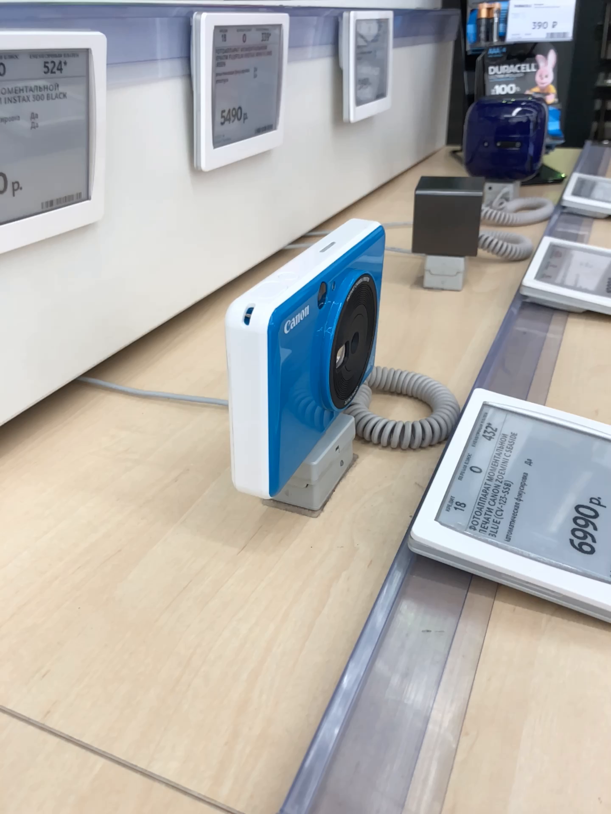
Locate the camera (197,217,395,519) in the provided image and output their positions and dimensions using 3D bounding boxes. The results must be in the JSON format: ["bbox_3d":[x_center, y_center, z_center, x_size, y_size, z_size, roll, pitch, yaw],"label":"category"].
[{"bbox_3d":[0.002,-0.023,0.269,0.025,0.072,0.120,15,34,20],"label":"camera"}]
